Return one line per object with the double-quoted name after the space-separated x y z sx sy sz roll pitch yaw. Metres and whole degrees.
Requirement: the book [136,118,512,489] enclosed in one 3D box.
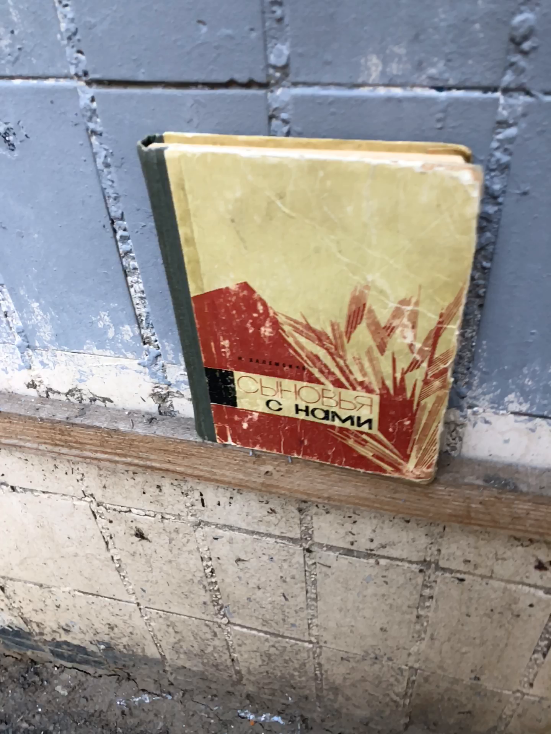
0.020 -0.024 0.282 0.140 0.162 0.032 8 39 15 "book"
